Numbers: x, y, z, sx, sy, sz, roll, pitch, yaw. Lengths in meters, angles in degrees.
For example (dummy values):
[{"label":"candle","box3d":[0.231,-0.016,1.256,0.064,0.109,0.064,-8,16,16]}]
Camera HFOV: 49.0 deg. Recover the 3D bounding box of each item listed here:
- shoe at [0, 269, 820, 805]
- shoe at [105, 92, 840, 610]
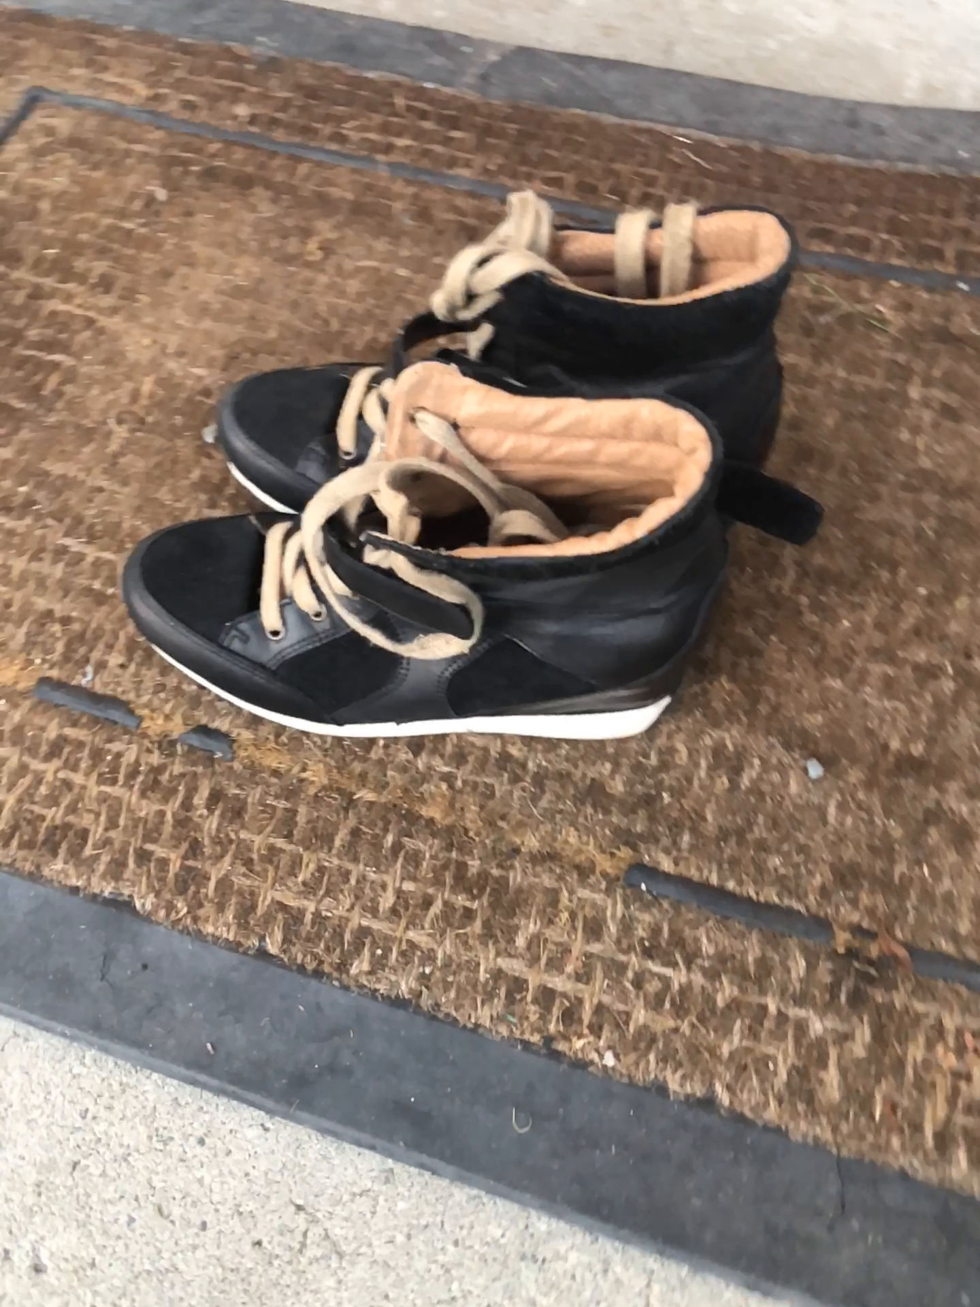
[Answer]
[{"label":"shoe","box3d":[-0.024,-0.033,0.389,0.240,0.159,0.090,8,64,7]},{"label":"shoe","box3d":[0.000,-0.111,0.426,0.230,0.159,0.090,8,64,7]}]
